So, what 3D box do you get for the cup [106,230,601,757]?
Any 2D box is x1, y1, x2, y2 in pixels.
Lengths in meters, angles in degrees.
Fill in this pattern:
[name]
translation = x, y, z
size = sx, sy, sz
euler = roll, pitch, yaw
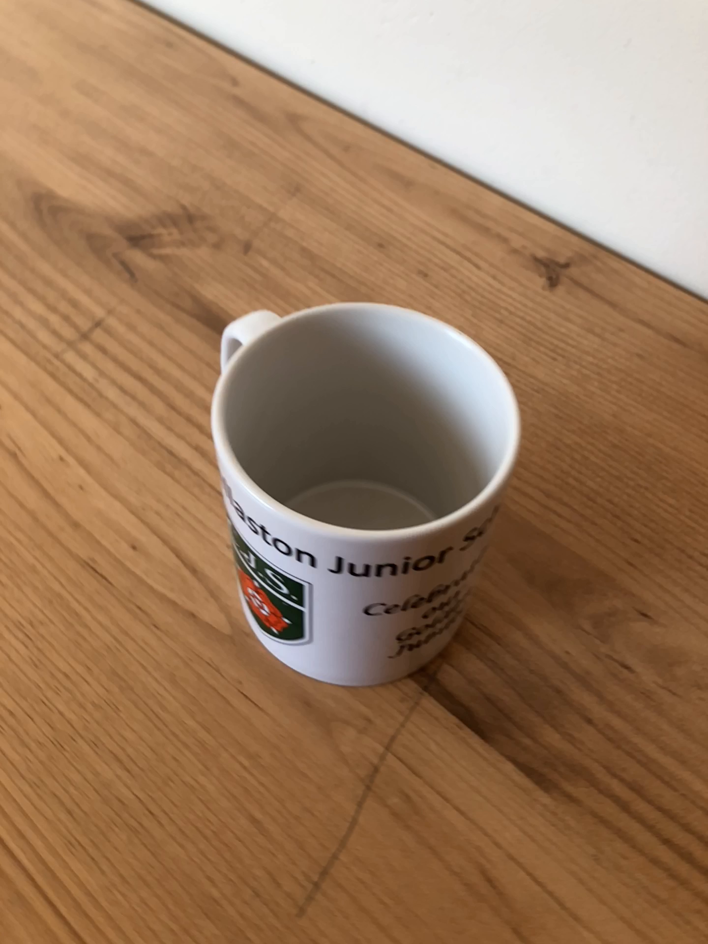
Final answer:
[cup]
translation = -0.004, 0.004, 0.252
size = 0.084, 0.096, 0.110
euler = -33, 57, -26
